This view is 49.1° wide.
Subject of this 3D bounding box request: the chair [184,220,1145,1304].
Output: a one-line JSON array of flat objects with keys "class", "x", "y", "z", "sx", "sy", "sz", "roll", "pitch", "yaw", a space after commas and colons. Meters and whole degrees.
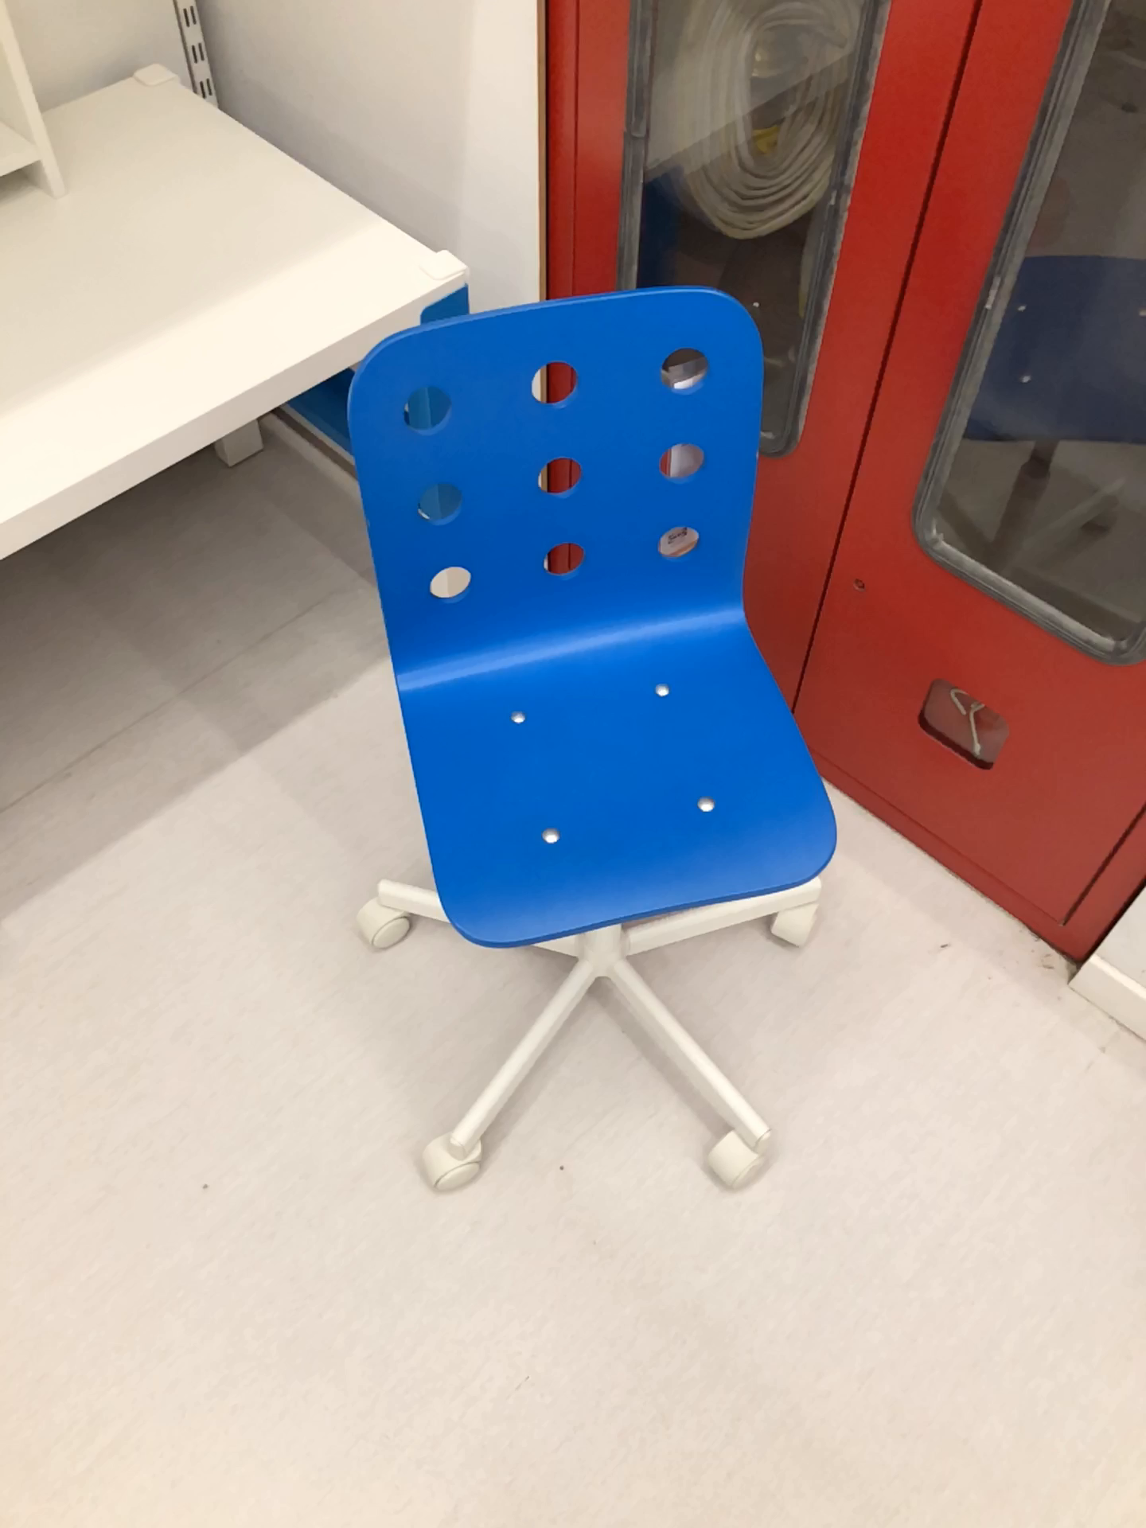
[{"class": "chair", "x": 0.061, "y": 0.040, "z": 1.043, "sx": 0.550, "sy": 0.686, "sz": 0.493, "roll": -12, "pitch": 56, "yaw": -9}]
